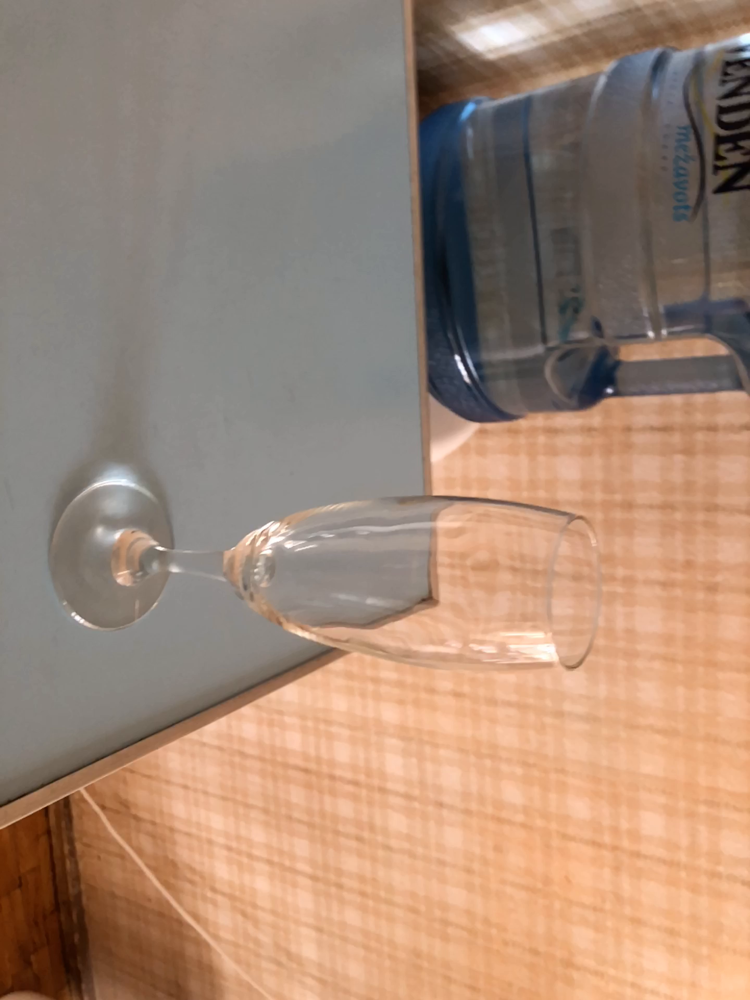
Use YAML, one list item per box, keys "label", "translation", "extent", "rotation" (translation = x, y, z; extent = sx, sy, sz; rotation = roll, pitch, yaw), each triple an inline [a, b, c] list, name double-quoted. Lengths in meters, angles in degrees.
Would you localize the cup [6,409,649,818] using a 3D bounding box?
- label: "cup"
  translation: [-0.019, 0.024, 0.292]
  extent: [0.091, 0.199, 0.090]
  rotation: [-3, 93, -57]
